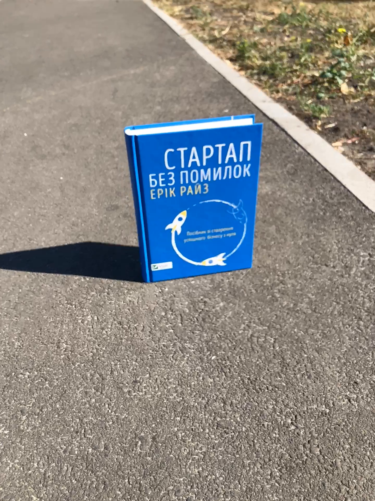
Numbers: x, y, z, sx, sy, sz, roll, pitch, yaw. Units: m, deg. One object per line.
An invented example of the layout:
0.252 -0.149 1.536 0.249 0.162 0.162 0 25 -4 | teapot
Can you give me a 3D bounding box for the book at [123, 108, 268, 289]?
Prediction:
0.013 -0.057 0.512 0.154 0.205 0.039 -9 34 -7 | book
